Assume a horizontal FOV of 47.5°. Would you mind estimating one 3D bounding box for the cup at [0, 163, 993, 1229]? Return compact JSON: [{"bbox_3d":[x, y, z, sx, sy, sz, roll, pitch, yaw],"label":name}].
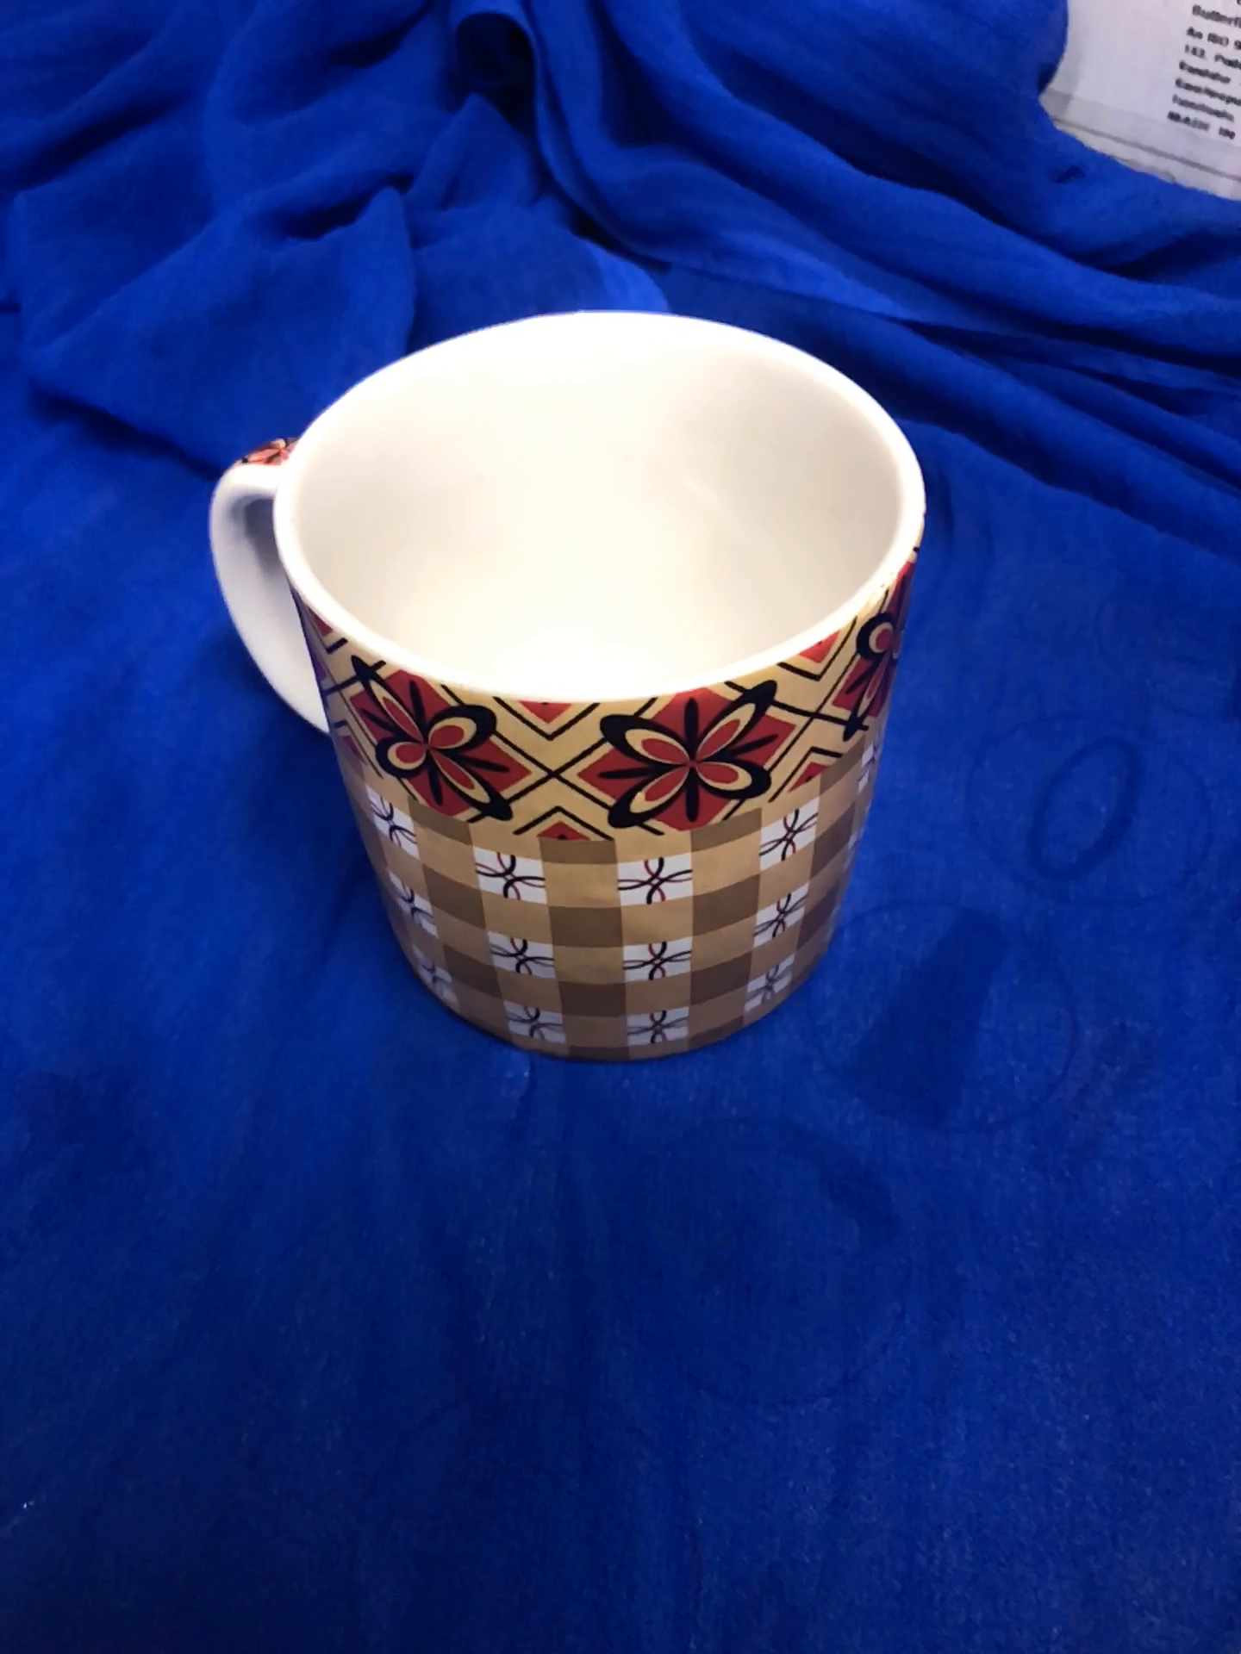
[{"bbox_3d":[-0.019,-0.017,0.200,0.100,0.099,0.070,26,56,17],"label":"cup"}]
